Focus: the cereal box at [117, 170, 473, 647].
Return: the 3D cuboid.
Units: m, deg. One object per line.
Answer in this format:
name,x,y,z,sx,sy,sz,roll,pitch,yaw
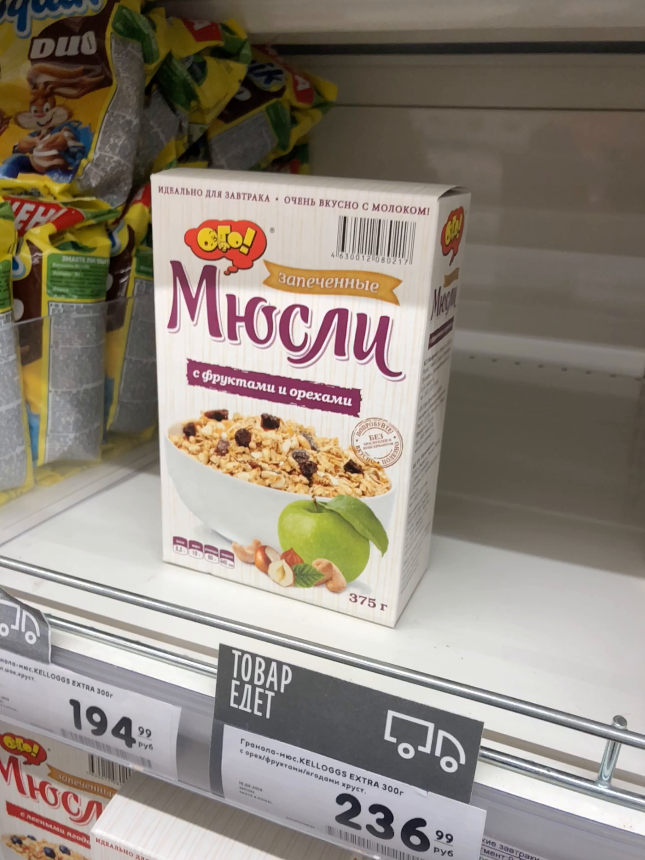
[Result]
cereal box,-0.015,-0.017,0.350,0.140,0.199,0.070,11,22,21
